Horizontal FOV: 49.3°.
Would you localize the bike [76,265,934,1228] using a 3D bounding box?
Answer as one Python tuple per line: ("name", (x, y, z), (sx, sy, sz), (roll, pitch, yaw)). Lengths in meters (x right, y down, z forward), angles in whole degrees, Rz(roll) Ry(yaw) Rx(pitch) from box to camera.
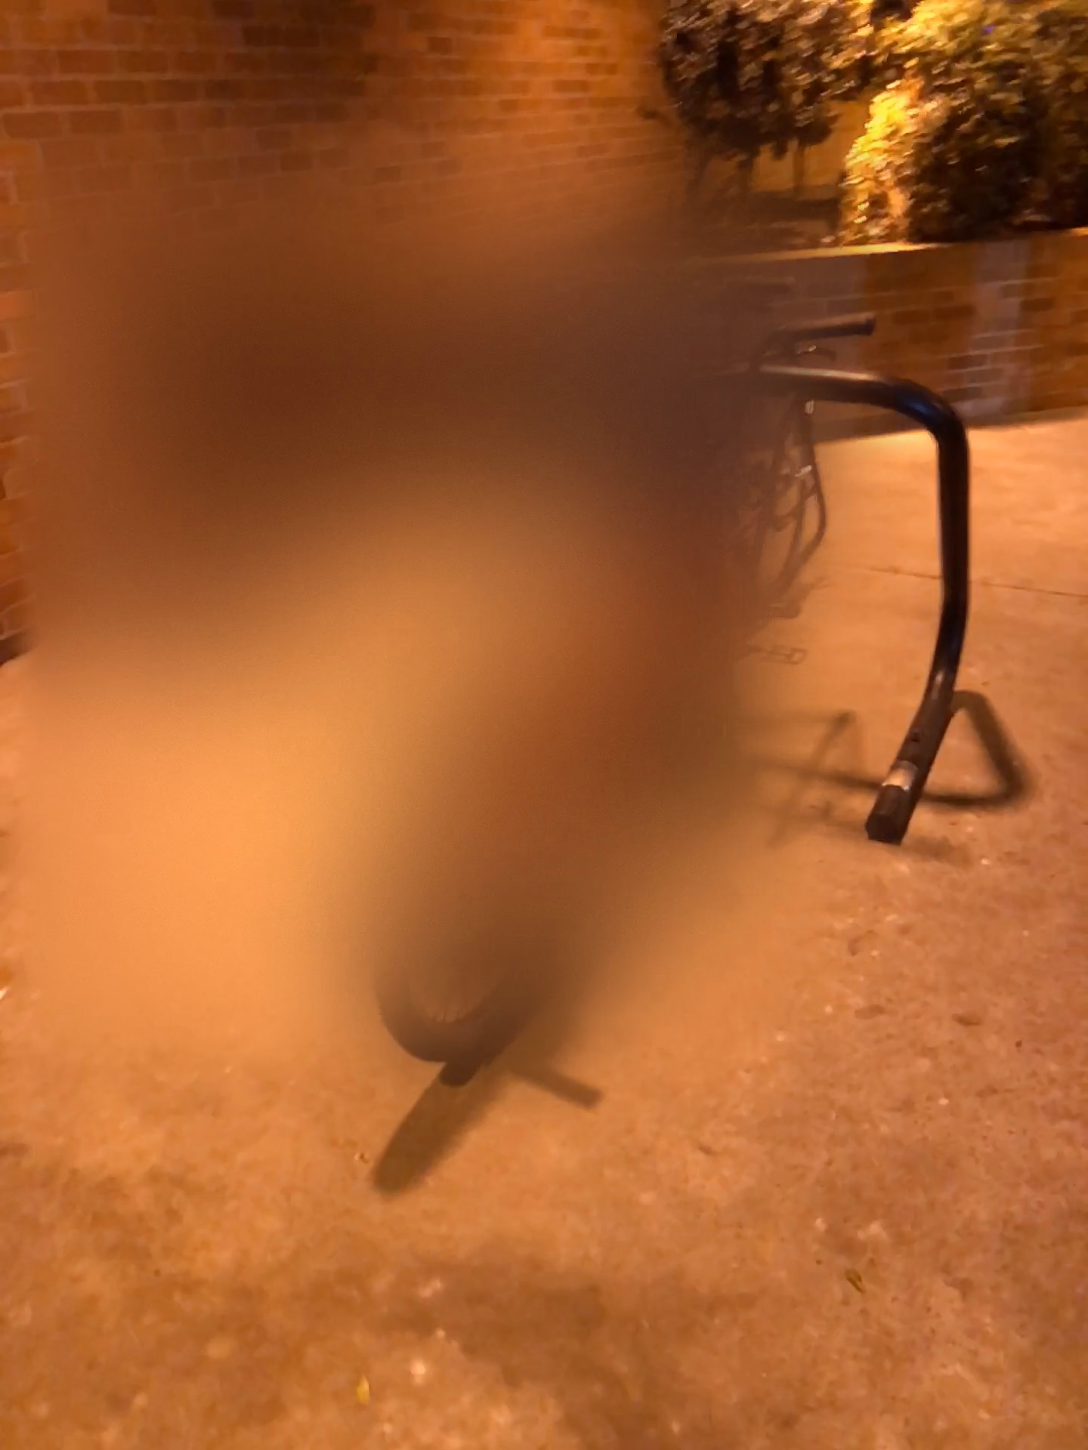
("bike", (0.085, -0.147, 1.935), (0.745, 0.926, 1.295), (11, 32, 24))
